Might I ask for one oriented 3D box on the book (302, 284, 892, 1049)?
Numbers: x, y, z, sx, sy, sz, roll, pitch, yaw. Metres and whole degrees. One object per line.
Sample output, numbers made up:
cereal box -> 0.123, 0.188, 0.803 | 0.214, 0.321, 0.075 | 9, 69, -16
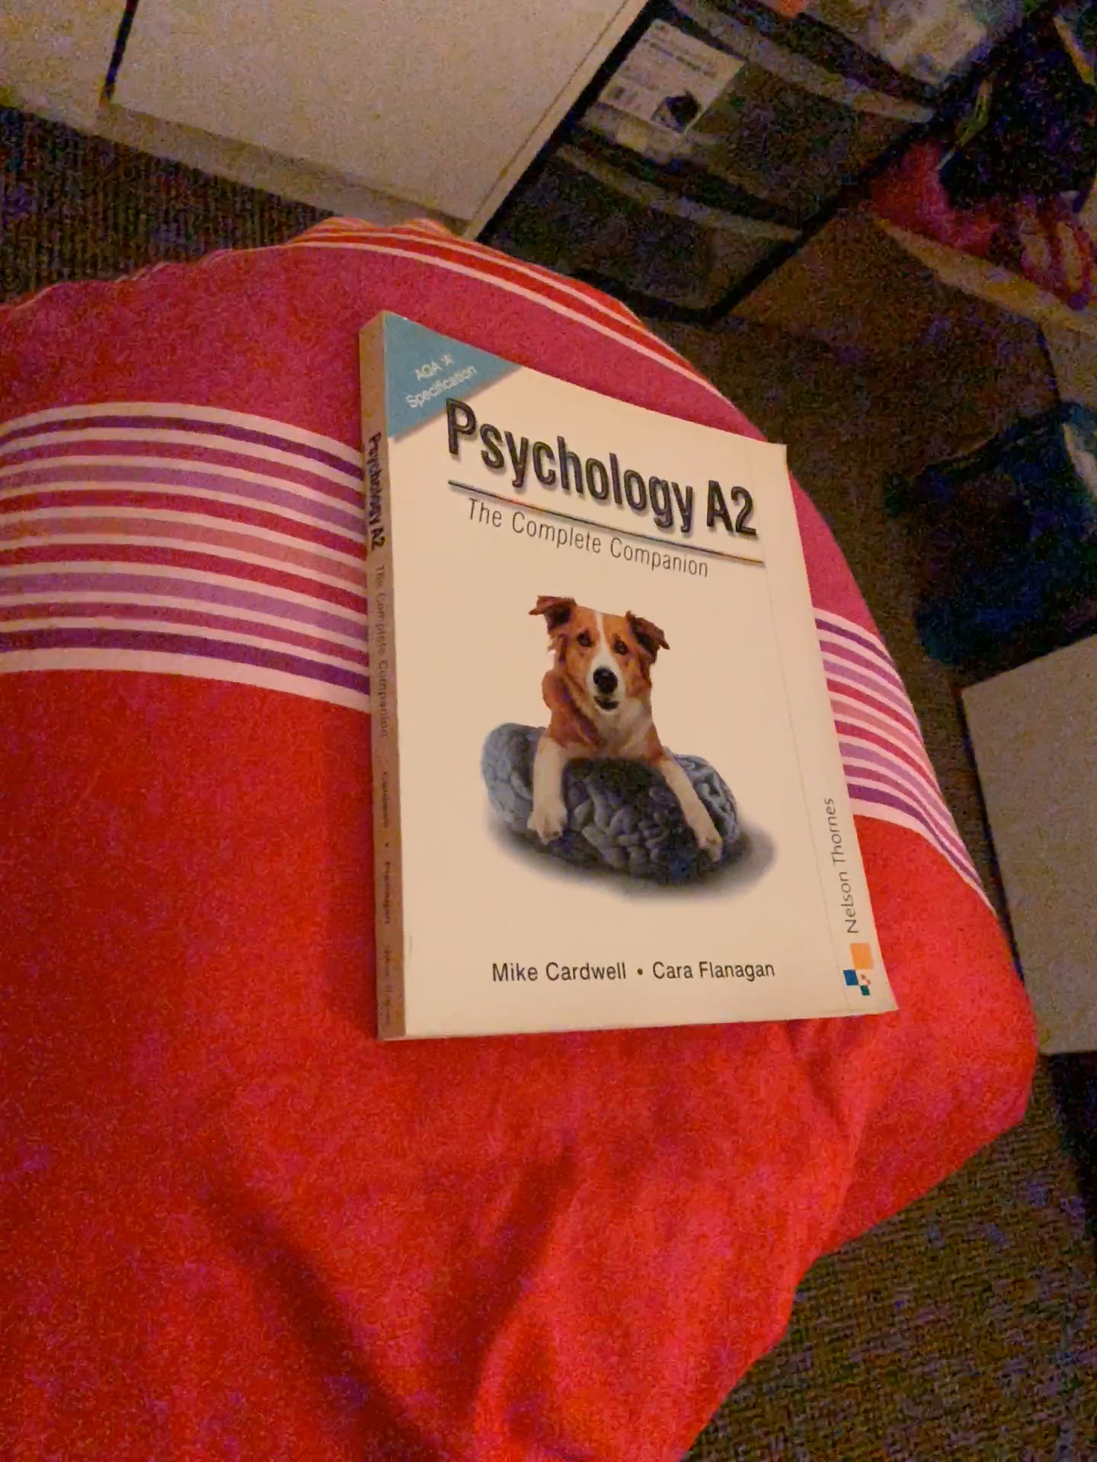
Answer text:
book -> 0.020, -0.024, 0.478 | 0.241, 0.040, 0.291 | 6, 68, -31
